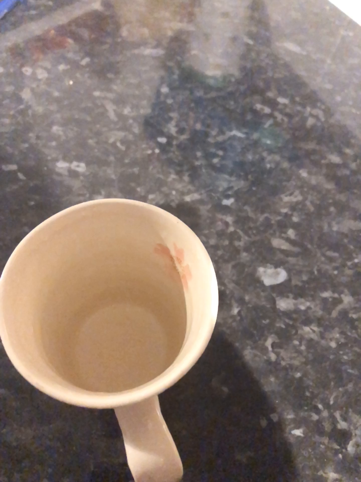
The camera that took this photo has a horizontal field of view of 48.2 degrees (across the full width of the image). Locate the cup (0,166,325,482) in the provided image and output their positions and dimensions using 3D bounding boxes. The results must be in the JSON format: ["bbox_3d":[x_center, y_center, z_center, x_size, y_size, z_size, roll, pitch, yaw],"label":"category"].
[{"bbox_3d":[-0.024,0.057,0.188,0.090,0.100,0.130,-17,64,-14],"label":"cup"}]
